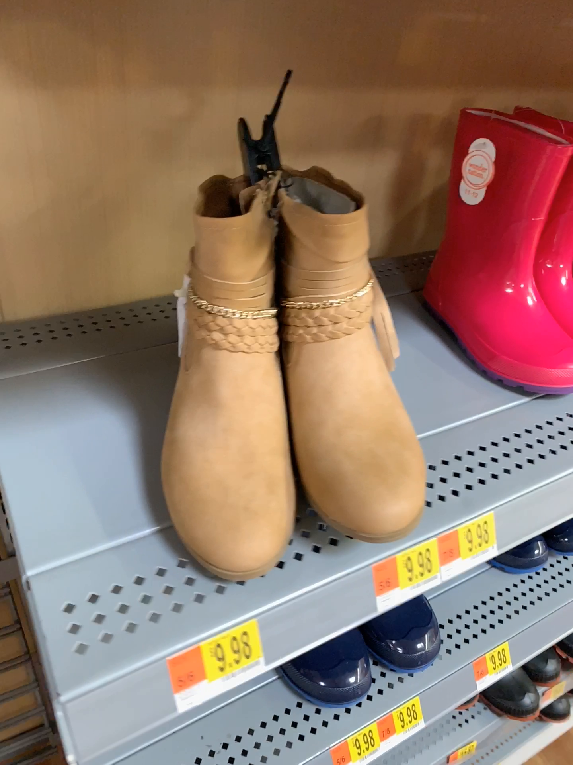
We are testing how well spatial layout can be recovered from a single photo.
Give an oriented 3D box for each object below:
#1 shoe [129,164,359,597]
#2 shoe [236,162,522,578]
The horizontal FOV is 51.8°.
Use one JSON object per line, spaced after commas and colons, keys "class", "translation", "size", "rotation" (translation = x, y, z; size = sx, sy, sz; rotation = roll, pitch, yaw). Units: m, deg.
{"class": "shoe", "translation": [-0.027, -0.014, 0.361], "size": [0.088, 0.161, 0.218], "rotation": [3, 36, -5]}
{"class": "shoe", "translation": [0.030, -0.027, 0.385], "size": [0.082, 0.154, 0.239], "rotation": [-3, 37, -13]}
